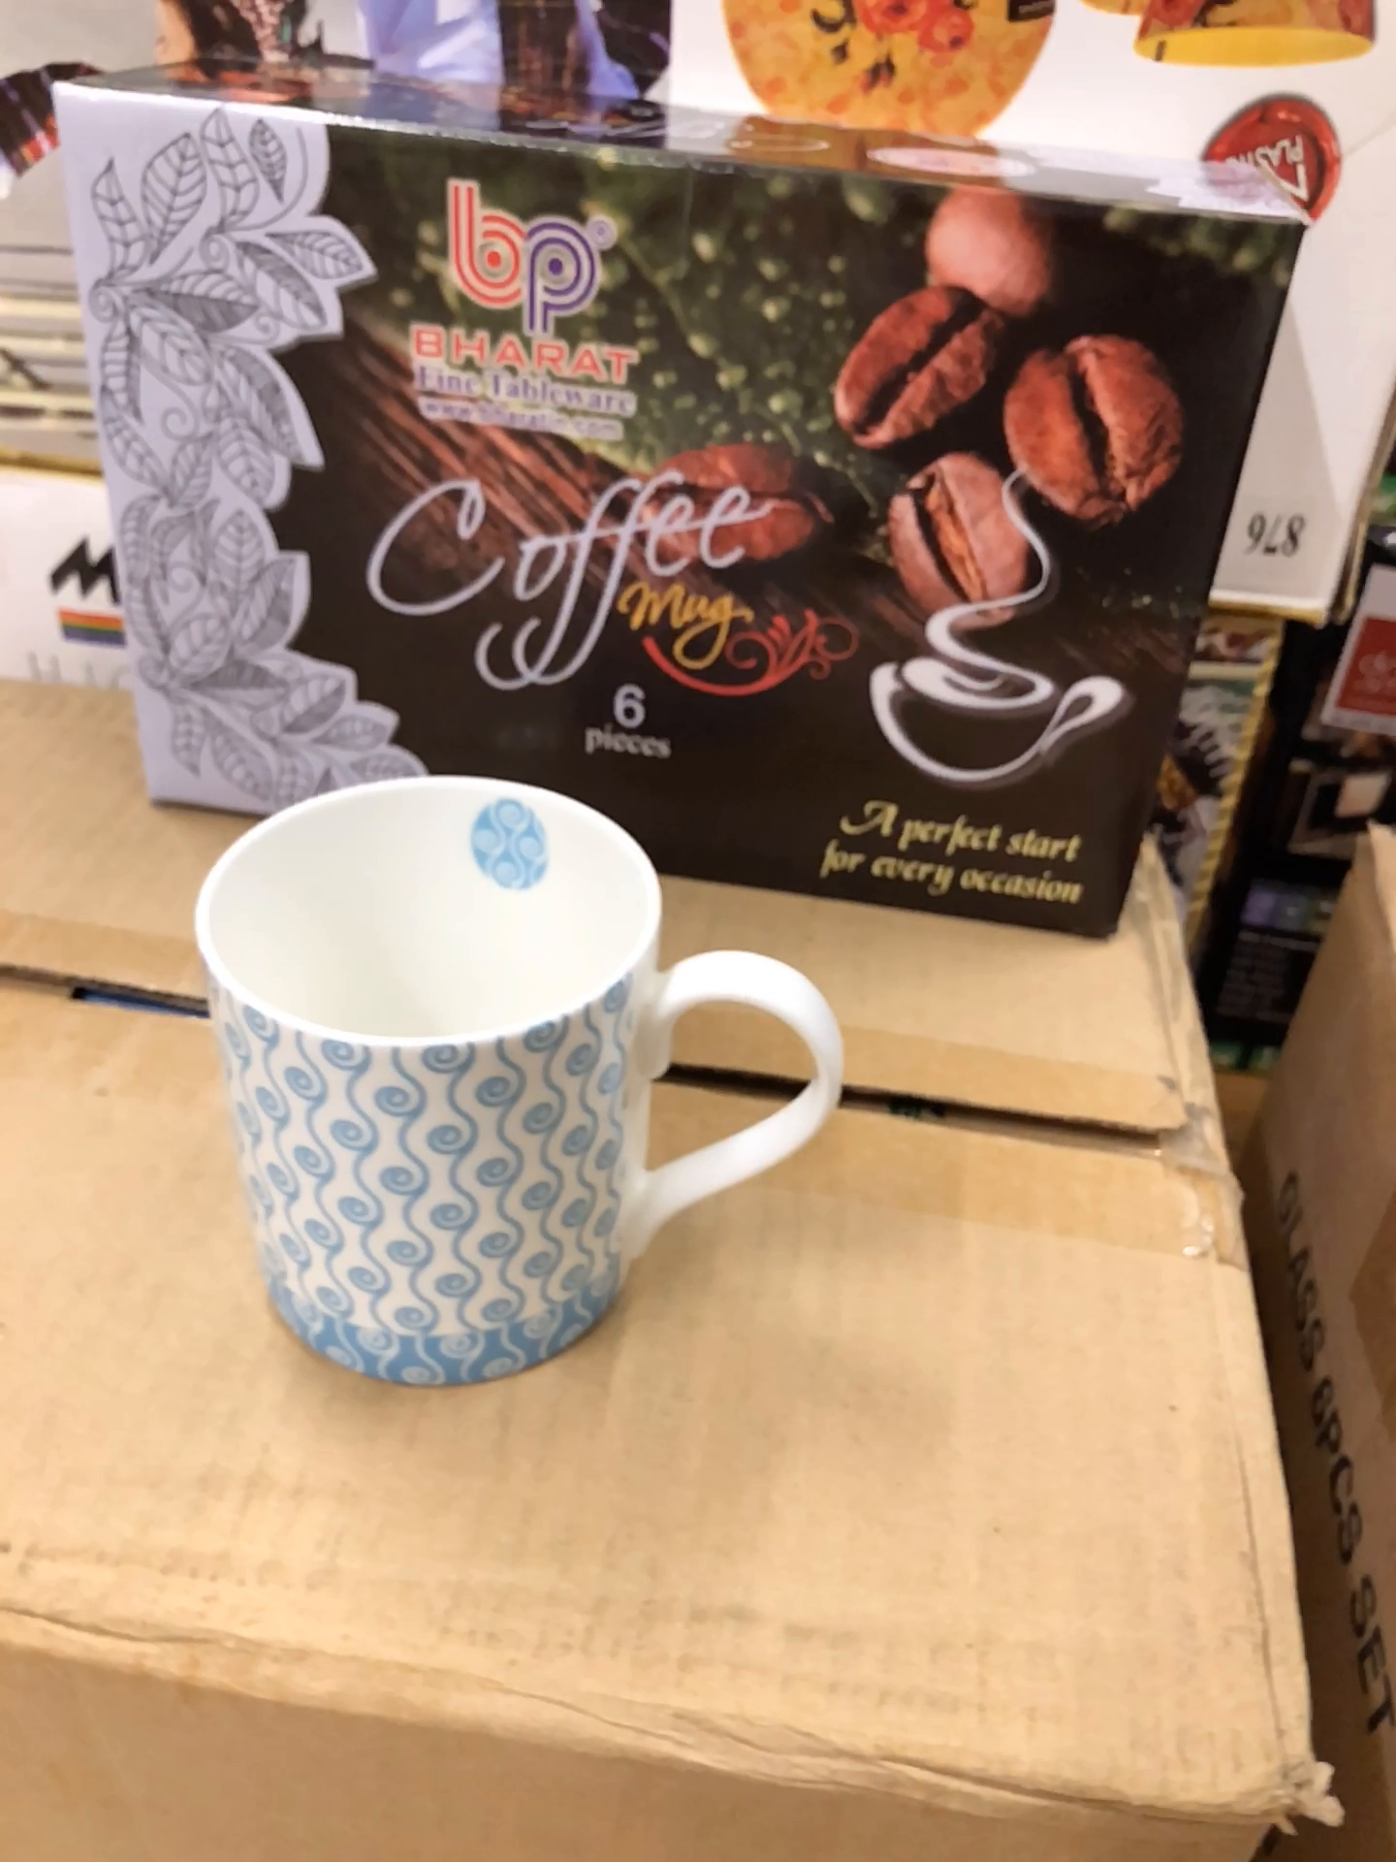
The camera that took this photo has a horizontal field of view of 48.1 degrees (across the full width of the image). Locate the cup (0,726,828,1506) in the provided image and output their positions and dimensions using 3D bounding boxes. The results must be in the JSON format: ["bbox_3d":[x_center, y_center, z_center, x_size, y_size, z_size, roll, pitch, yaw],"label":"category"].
[{"bbox_3d":[-0.041,0.030,0.259,0.110,0.089,0.070,8,38,4],"label":"cup"}]
